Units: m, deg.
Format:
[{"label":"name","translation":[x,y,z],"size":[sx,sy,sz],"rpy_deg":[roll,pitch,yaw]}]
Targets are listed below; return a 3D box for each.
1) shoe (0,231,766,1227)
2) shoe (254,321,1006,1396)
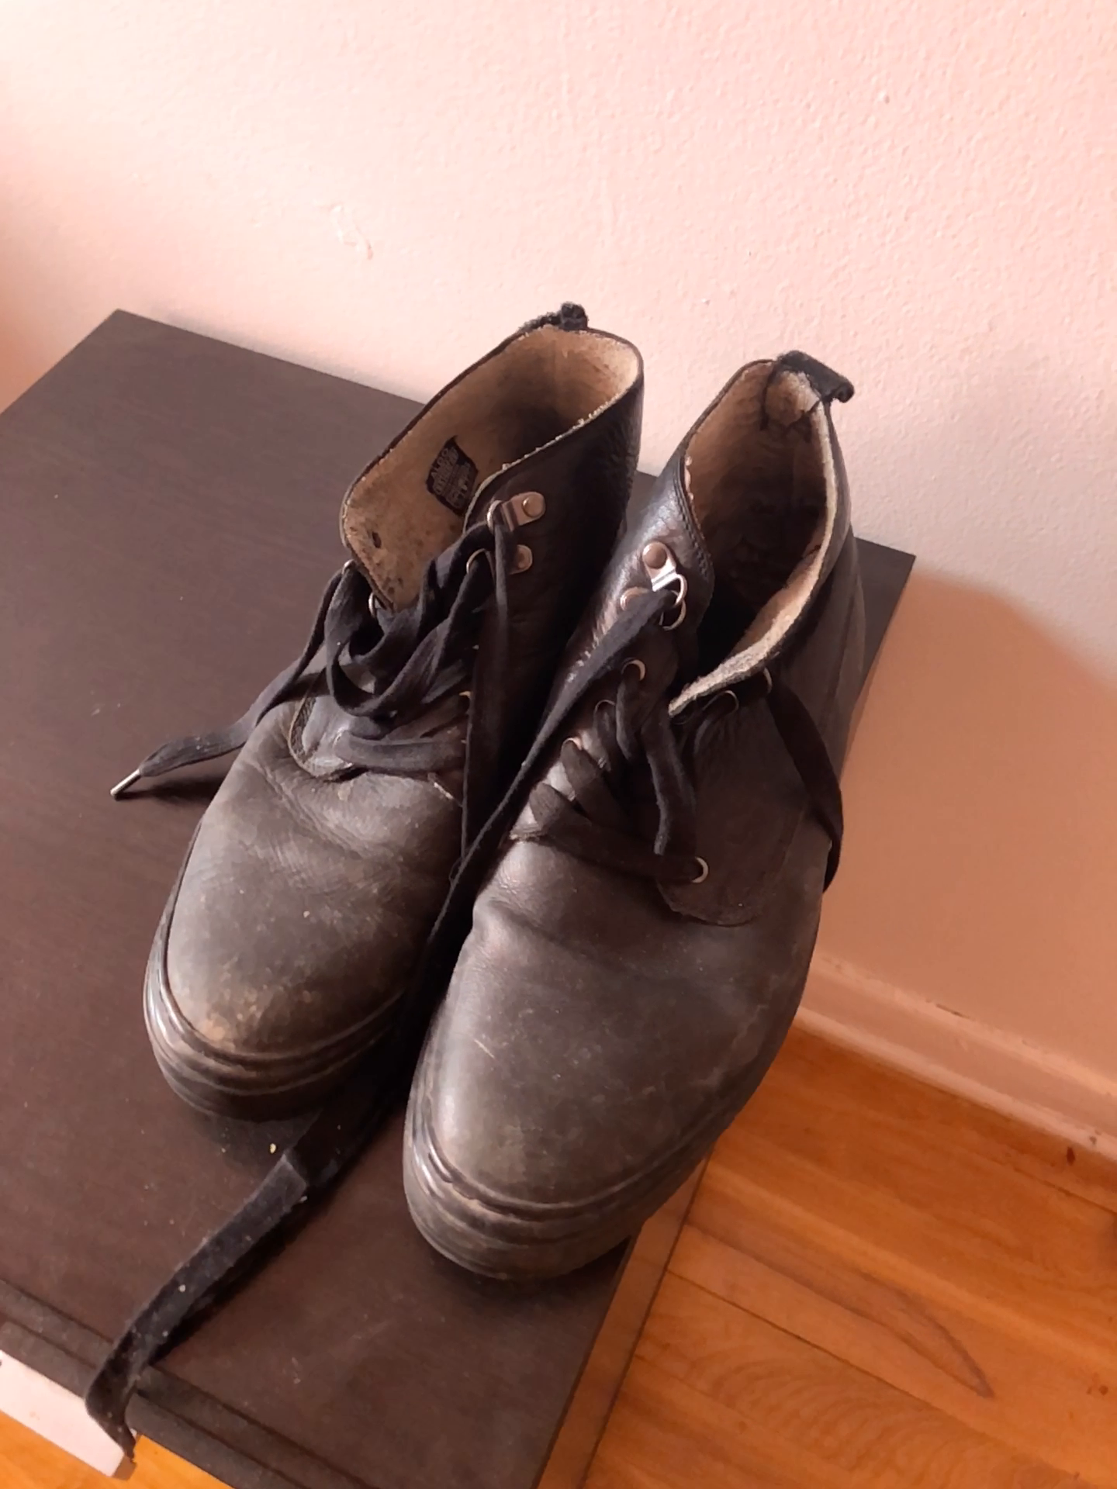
[{"label":"shoe","translation":[-0.050,-0.030,0.438],"size":[0.120,0.109,0.342],"rpy_deg":[22,57,15]},{"label":"shoe","translation":[0.046,0.012,0.422],"size":[0.120,0.109,0.342],"rpy_deg":[18,56,13]}]
